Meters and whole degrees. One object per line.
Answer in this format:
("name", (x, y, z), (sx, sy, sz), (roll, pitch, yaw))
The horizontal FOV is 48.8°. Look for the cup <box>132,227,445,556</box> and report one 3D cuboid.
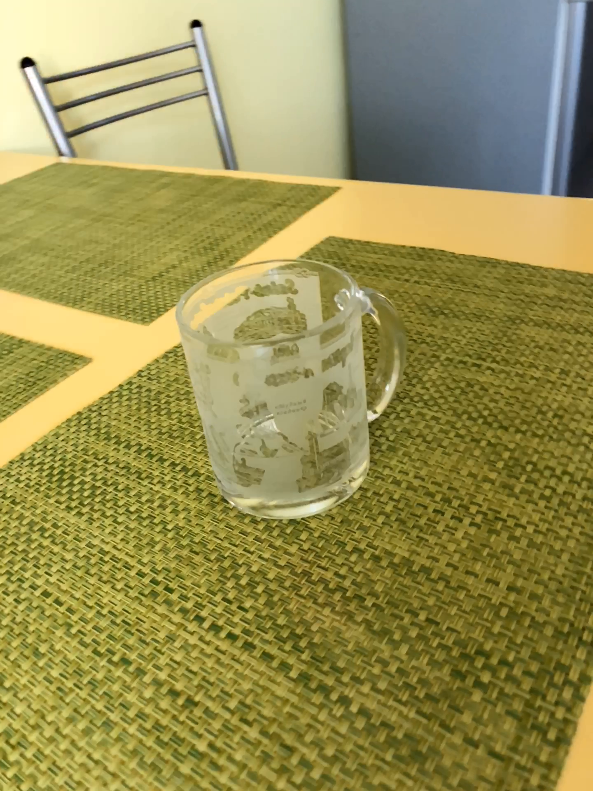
("cup", (-0.001, -0.009, 0.313), (0.109, 0.096, 0.088), (-23, 37, -22))
